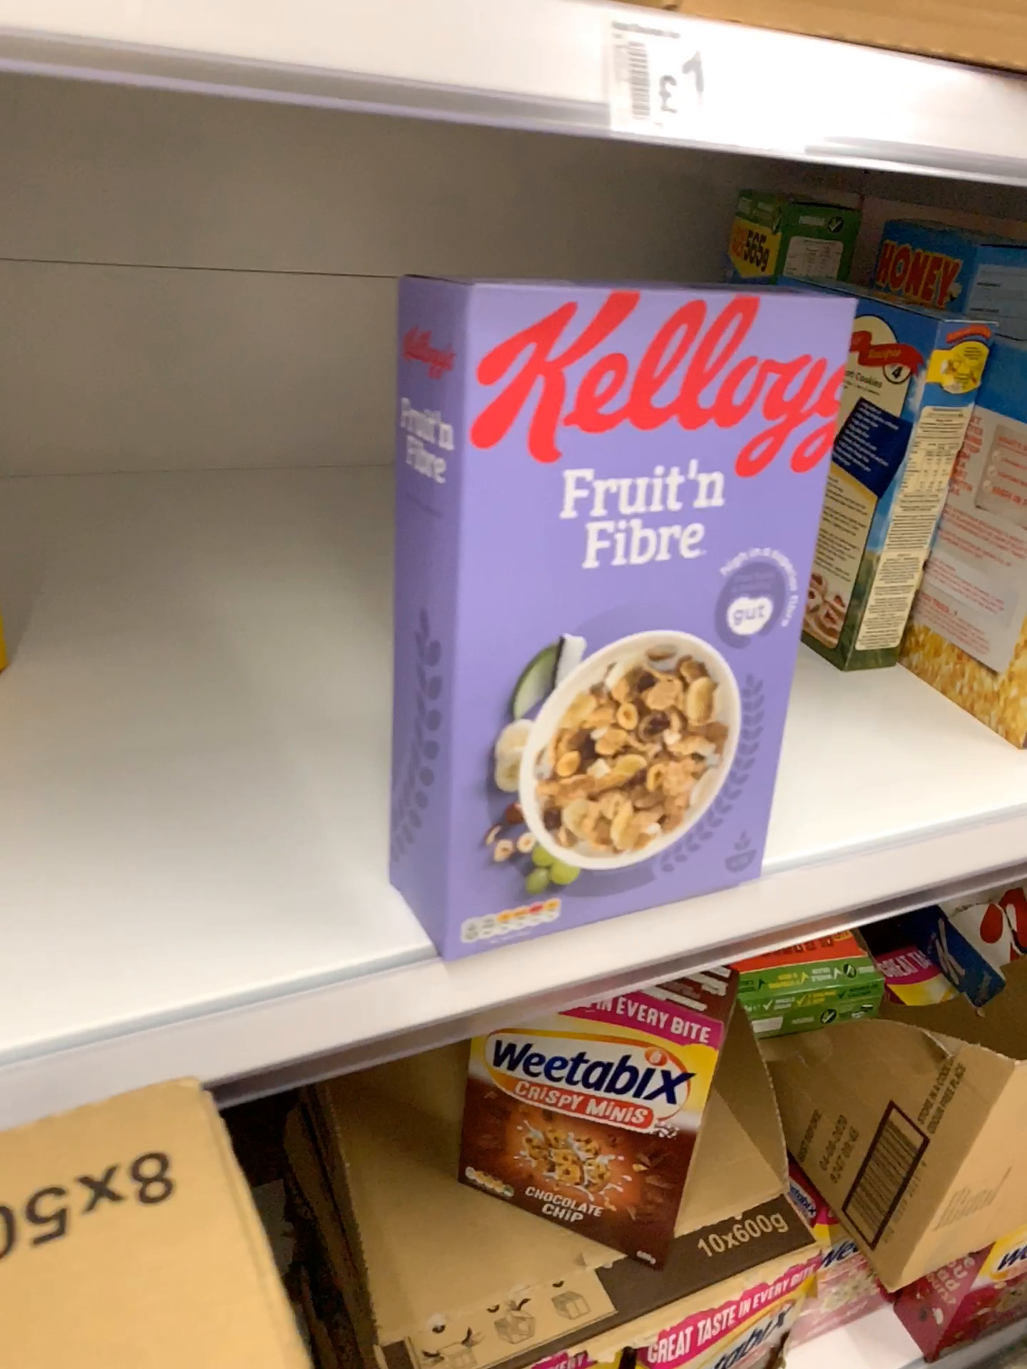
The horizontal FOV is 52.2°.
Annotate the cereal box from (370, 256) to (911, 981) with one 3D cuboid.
[{"bbox_3d":[0.049,-0.033,0.492,0.211,0.298,0.080,-8,26,-26],"label":"cereal box"}]
